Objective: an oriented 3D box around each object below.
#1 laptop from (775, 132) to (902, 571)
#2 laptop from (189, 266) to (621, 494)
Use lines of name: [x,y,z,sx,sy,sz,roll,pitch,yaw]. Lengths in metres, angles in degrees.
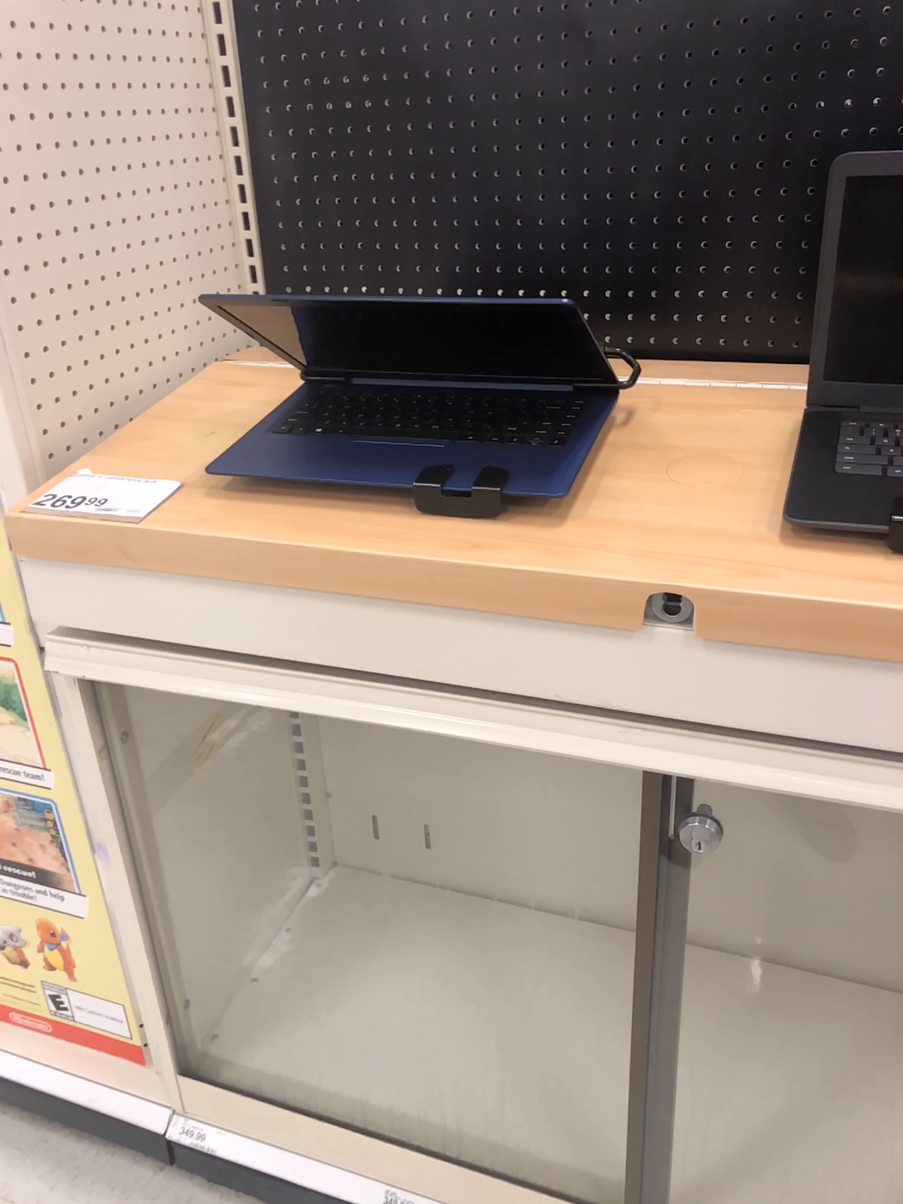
laptop: [0.429,-0.186,0.685,0.331,0.206,0.224,8,31,22]
laptop: [-0.032,-0.205,0.866,0.320,0.110,0.202,6,34,20]
